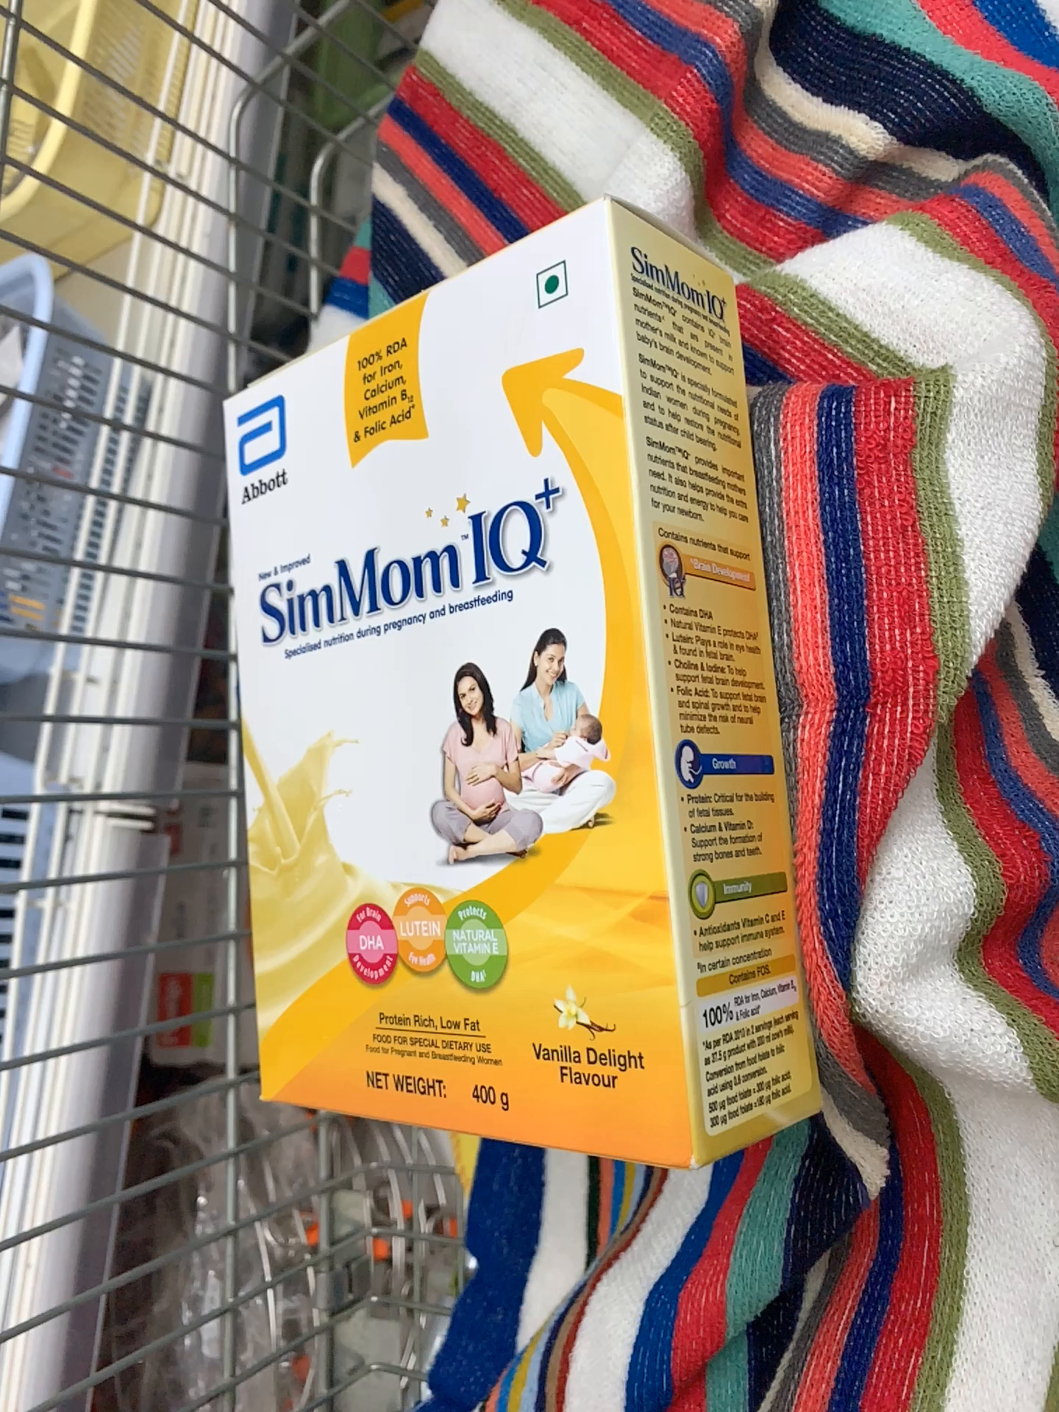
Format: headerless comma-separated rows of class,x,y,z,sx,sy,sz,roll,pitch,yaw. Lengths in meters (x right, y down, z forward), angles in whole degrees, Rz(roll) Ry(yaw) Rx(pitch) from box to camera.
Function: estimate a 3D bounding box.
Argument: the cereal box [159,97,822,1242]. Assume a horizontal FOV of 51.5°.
cereal box,-0.020,-0.002,0.253,0.141,0.050,0.200,-10,82,40
